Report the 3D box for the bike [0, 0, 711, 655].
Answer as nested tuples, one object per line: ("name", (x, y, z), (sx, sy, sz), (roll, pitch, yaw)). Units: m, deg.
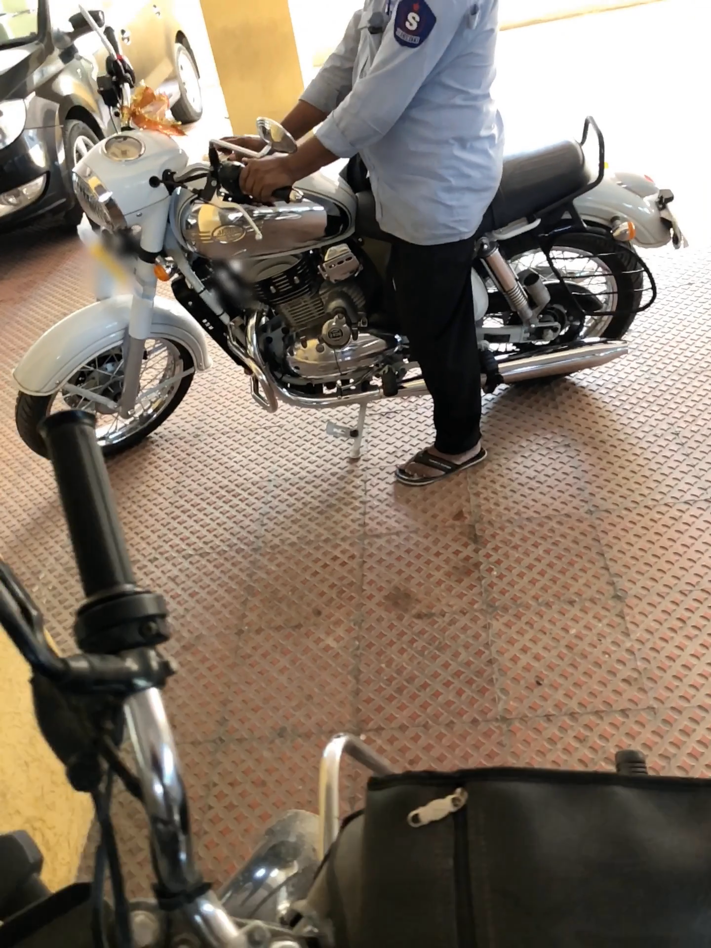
("bike", (-0.112, -0.475, 1.998), (1.898, 1.234, 0.849), (-12, 37, -1))
